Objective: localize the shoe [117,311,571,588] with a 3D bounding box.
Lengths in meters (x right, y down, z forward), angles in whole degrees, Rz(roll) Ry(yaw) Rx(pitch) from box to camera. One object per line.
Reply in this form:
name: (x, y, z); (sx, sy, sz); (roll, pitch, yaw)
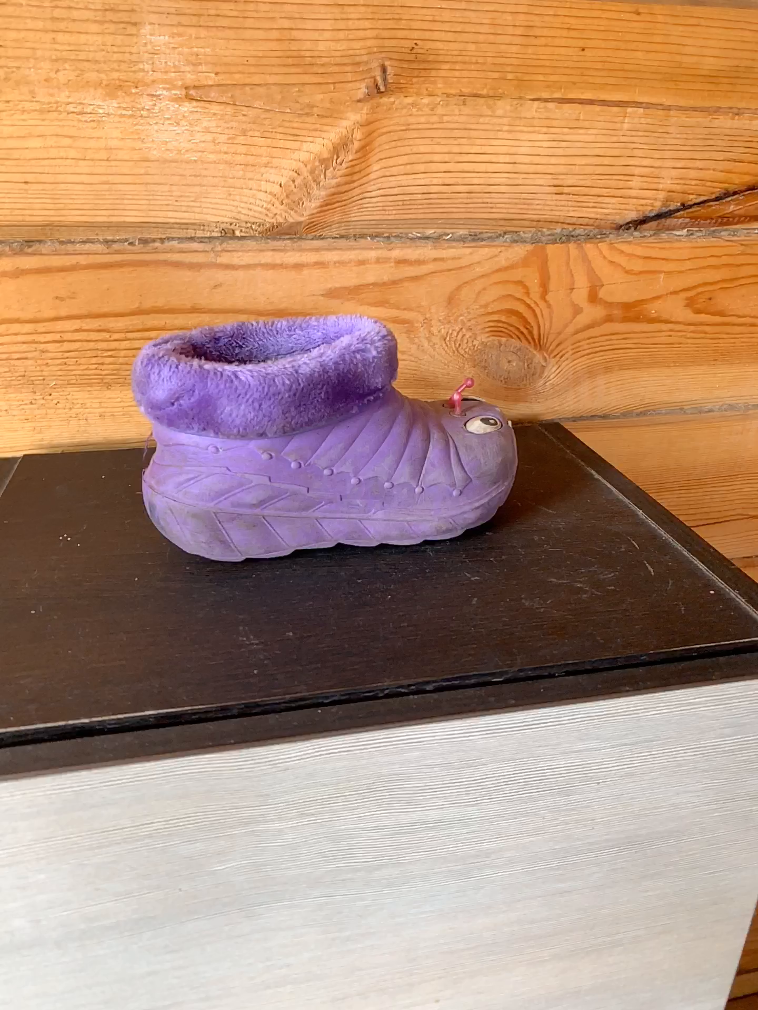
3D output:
shoe: (-0.020, -0.036, 0.394); (0.200, 0.099, 0.091); (-6, 24, -14)
